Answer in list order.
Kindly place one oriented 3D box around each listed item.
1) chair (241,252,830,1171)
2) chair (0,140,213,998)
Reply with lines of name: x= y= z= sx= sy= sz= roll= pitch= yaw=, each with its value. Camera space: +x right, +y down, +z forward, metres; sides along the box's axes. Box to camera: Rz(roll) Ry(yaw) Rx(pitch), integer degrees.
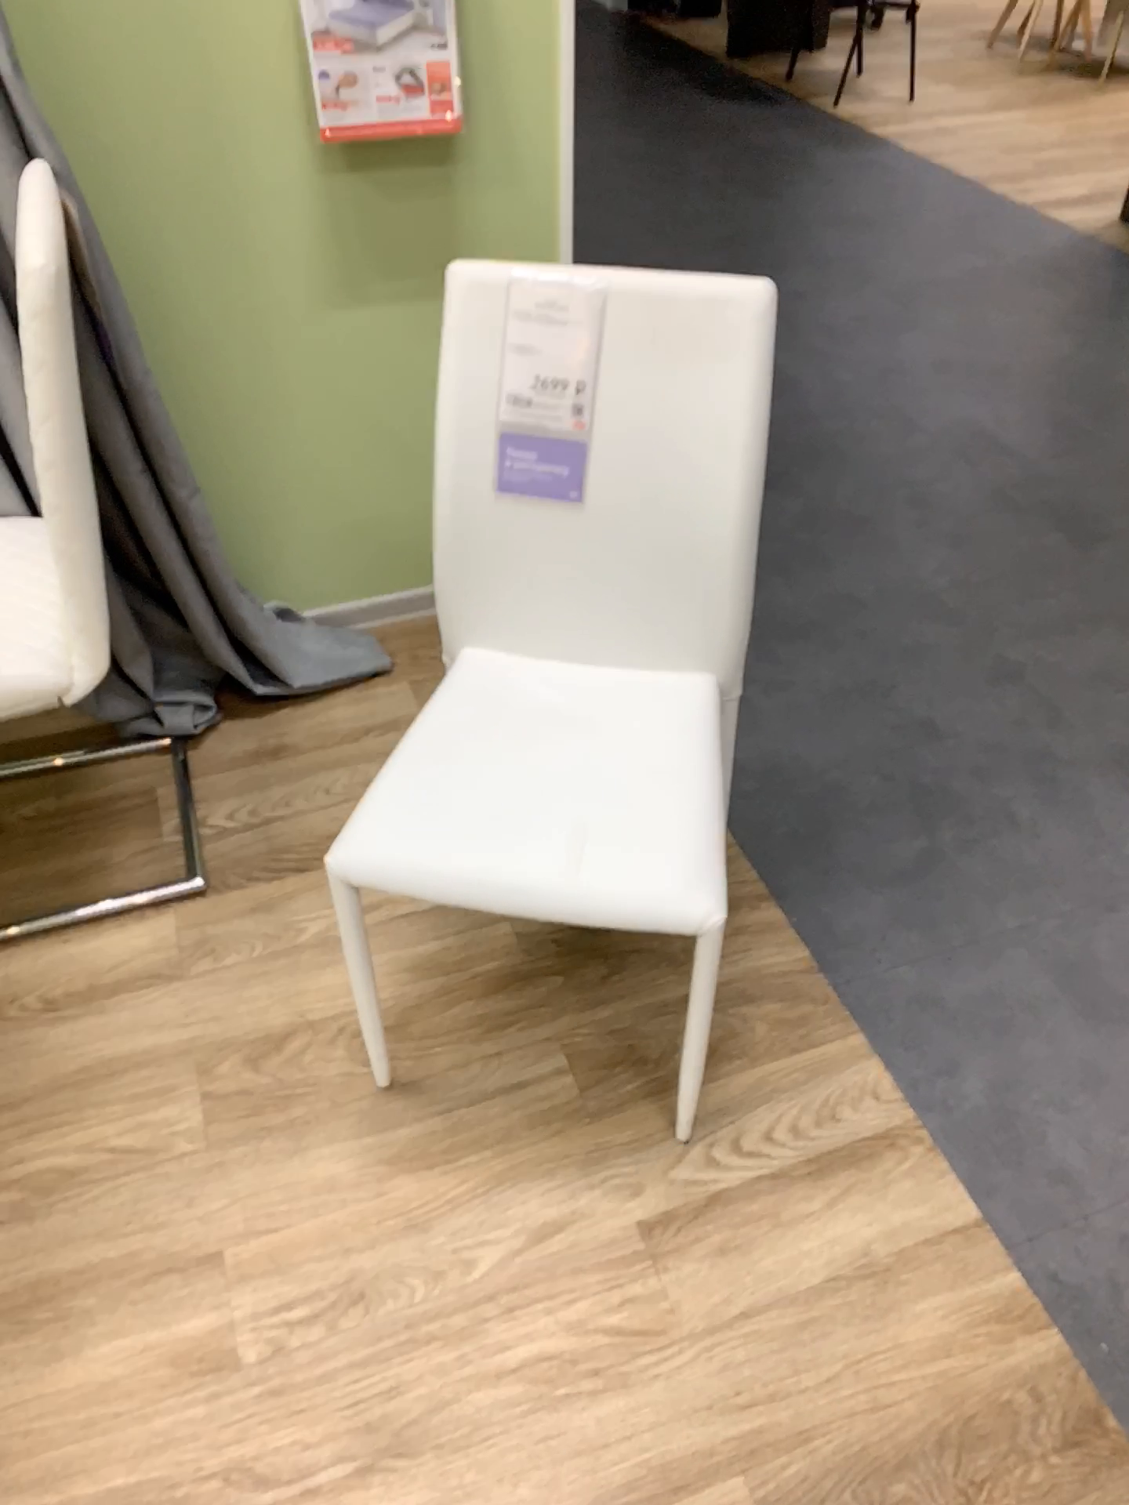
chair: x=0.015 y=-0.020 z=1.384 sx=0.450 sy=0.925 sz=0.553 roll=8 pitch=42 yaw=8
chair: x=-0.874 y=-0.212 z=1.515 sx=0.561 sy=0.945 sz=0.452 roll=-13 pitch=44 yaw=-15
